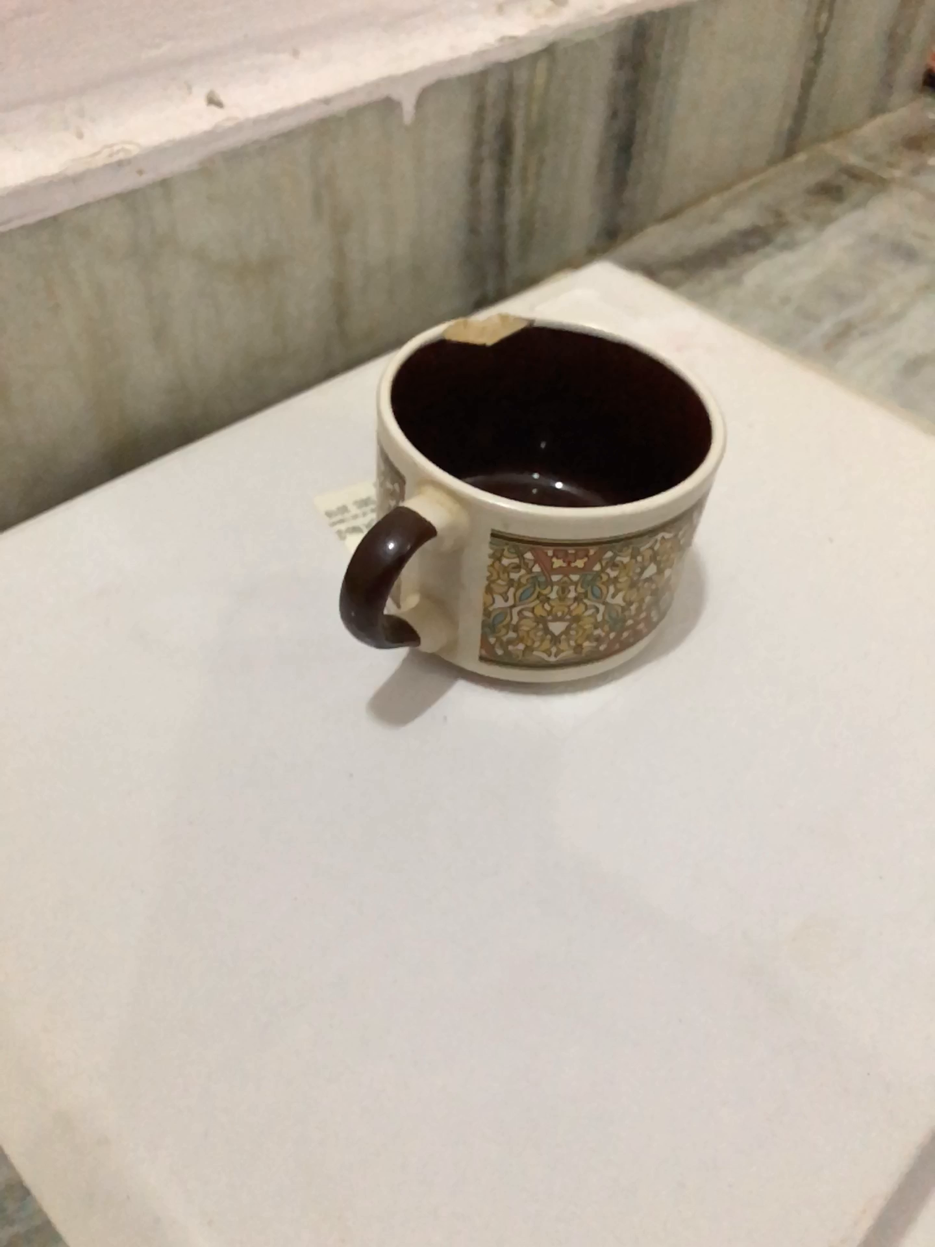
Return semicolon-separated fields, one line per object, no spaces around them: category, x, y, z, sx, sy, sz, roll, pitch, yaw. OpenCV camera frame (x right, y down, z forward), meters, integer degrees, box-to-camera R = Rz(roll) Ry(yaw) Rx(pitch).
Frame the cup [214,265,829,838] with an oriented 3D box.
cup;0.011;-0.023;0.237;0.101;0.060;0.080;-33;57;-32
